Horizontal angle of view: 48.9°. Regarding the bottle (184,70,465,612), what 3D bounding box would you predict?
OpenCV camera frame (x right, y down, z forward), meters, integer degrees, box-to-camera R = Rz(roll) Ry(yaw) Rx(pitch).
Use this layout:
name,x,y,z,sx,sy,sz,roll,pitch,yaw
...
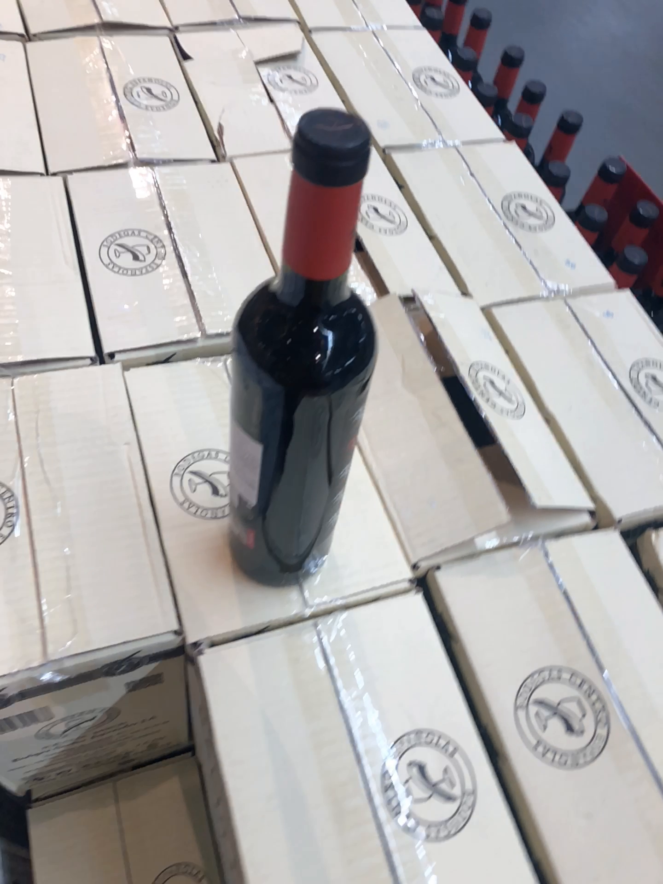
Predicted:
name,x,y,z,sx,sy,sz,roll,pitch,yaw
bottle,-0.019,-0.017,0.382,0.090,0.298,0.090,5,55,-7
